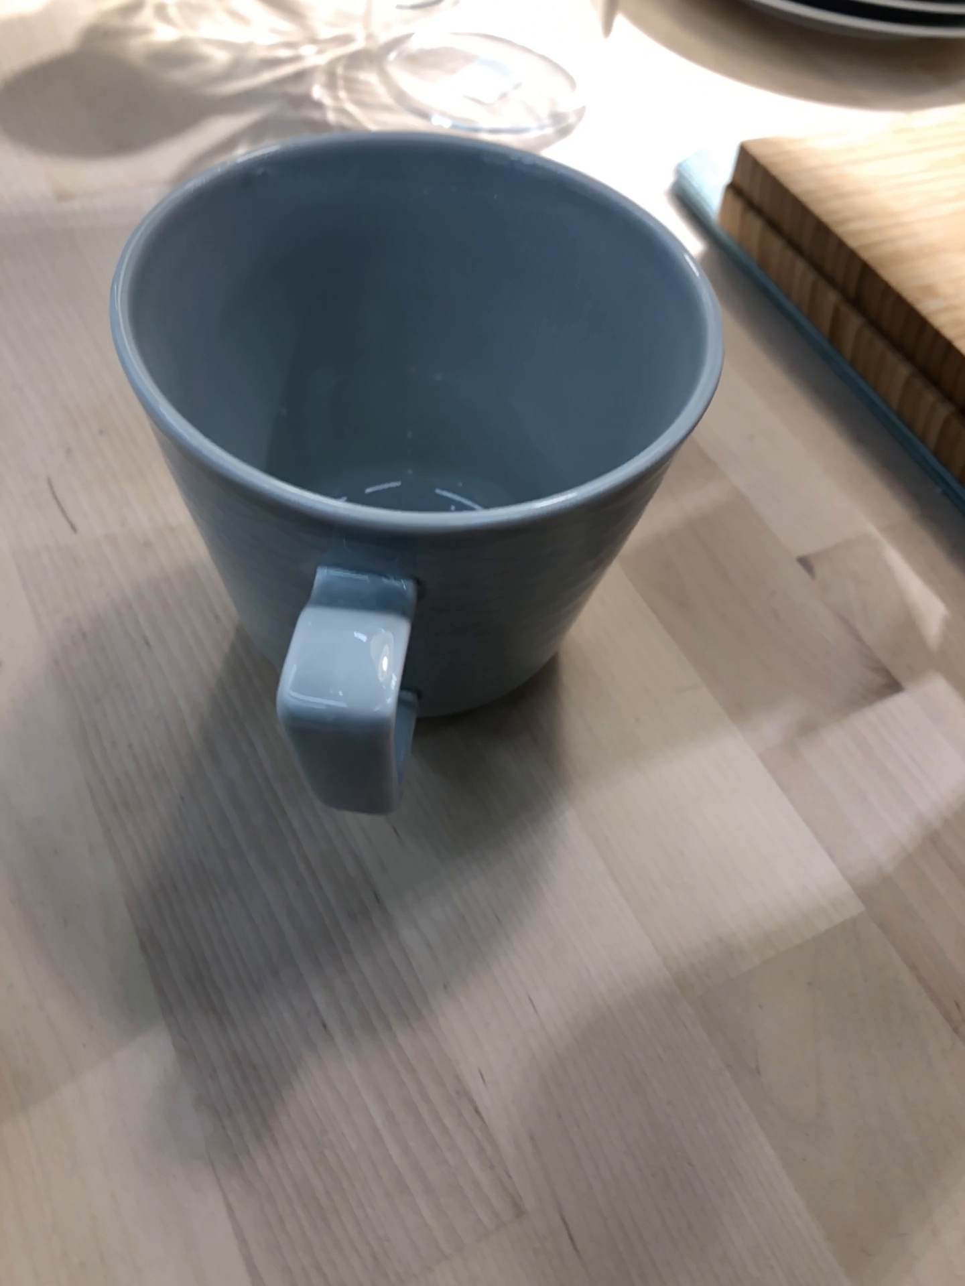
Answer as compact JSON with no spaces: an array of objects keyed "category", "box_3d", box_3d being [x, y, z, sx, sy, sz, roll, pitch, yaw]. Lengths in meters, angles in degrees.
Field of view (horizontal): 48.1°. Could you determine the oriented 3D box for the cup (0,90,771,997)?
[{"category":"cup","box_3d":[-0.013,-0.024,0.207,0.110,0.080,0.141,10,53,1]}]
